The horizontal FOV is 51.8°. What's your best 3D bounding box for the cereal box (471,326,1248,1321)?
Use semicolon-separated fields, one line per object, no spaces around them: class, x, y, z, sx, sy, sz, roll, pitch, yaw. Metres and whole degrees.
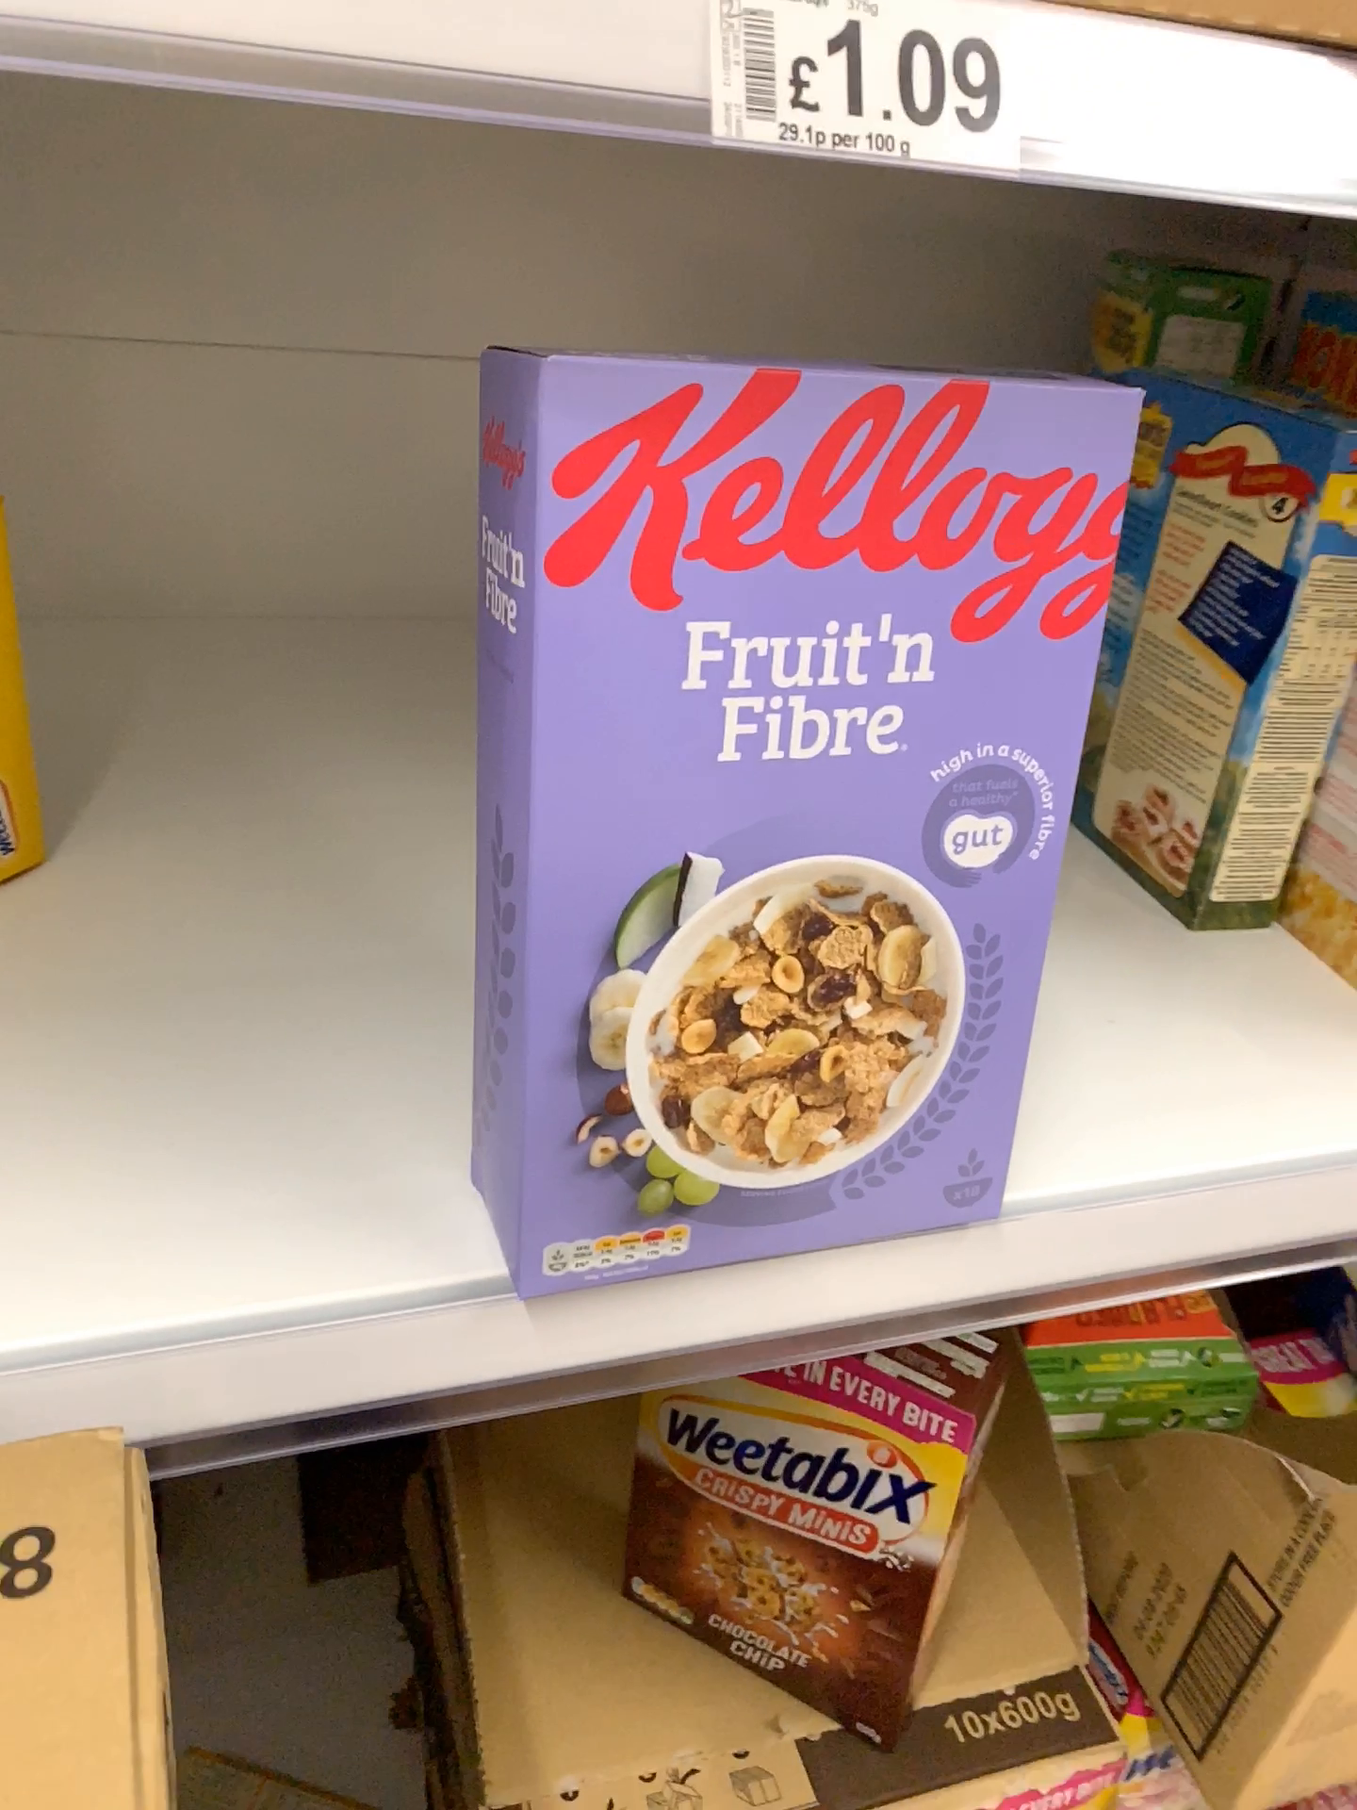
cereal box;0.045;-0.025;0.468;0.210;0.298;0.081;-4;24;-20
